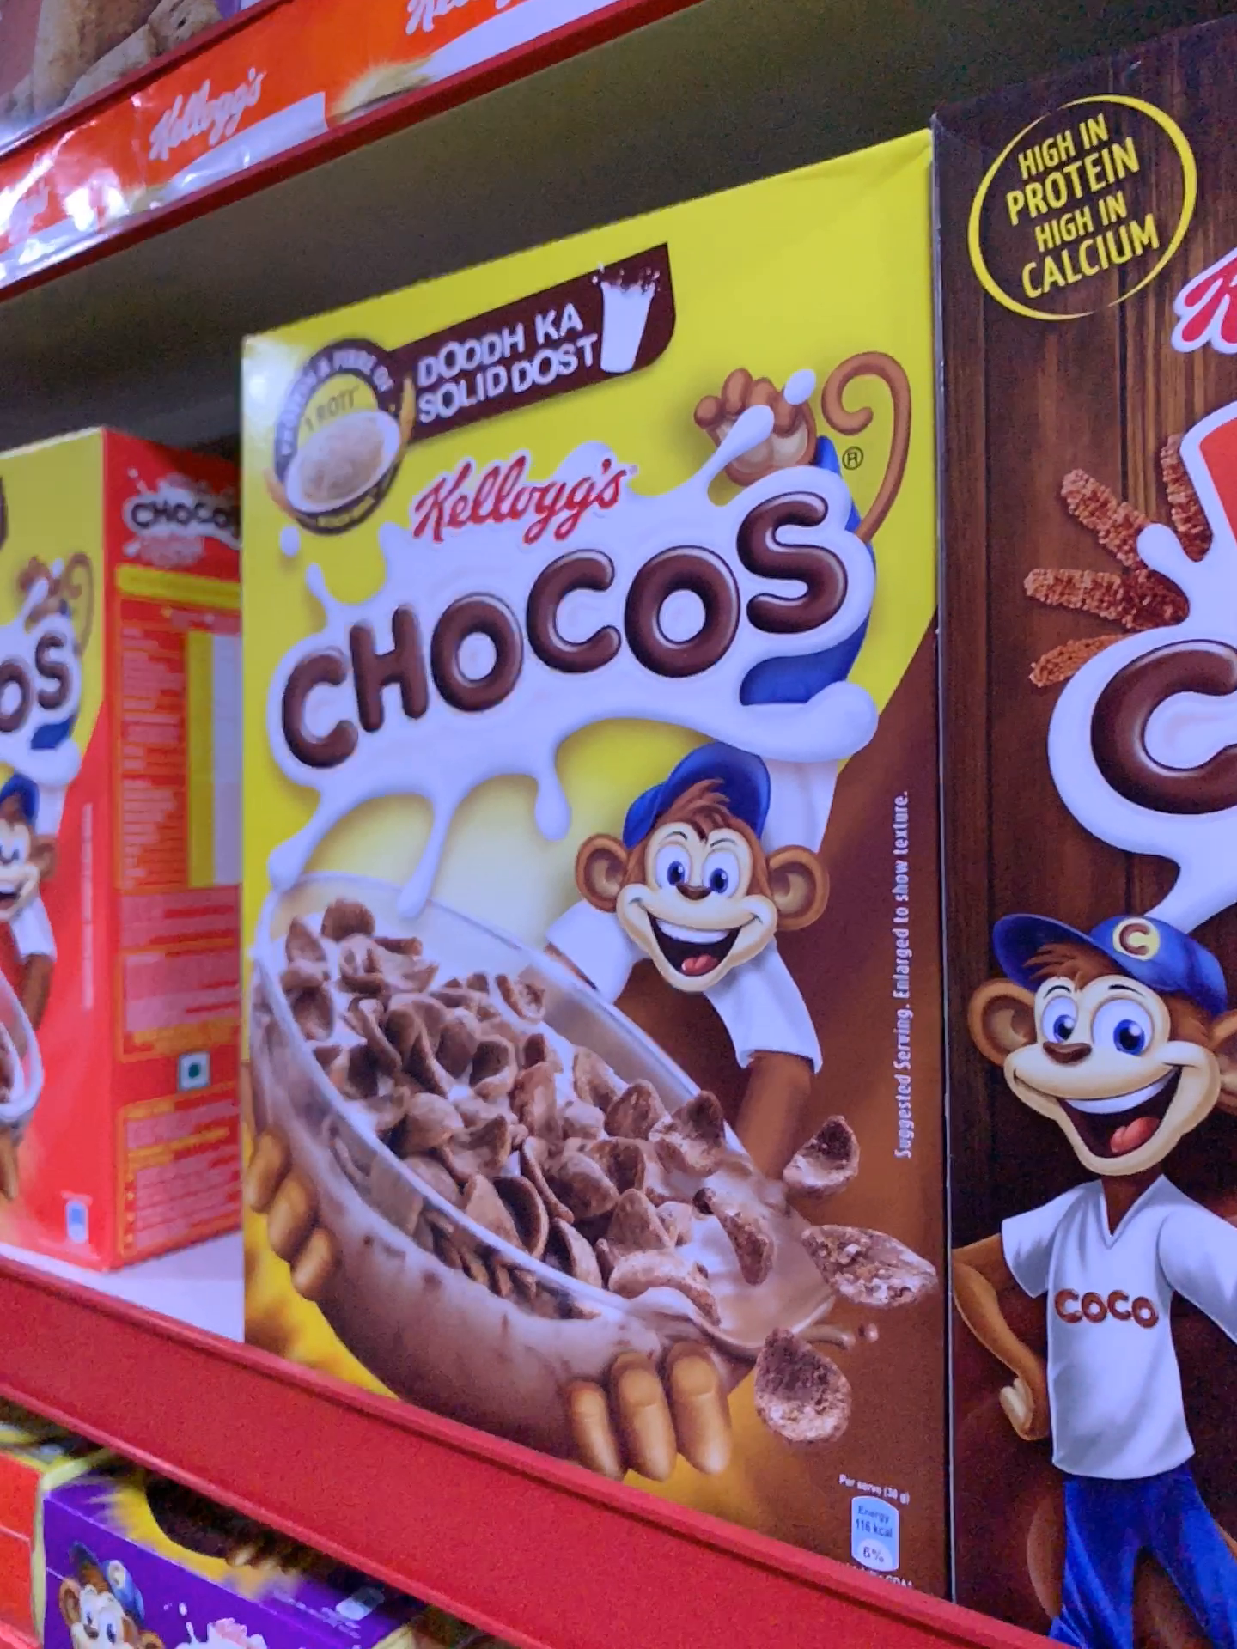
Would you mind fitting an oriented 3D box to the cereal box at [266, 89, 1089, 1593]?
[{"bbox_3d":[0.005,0.002,0.282,0.170,0.240,0.060,-1,0,36],"label":"cereal box"}]
